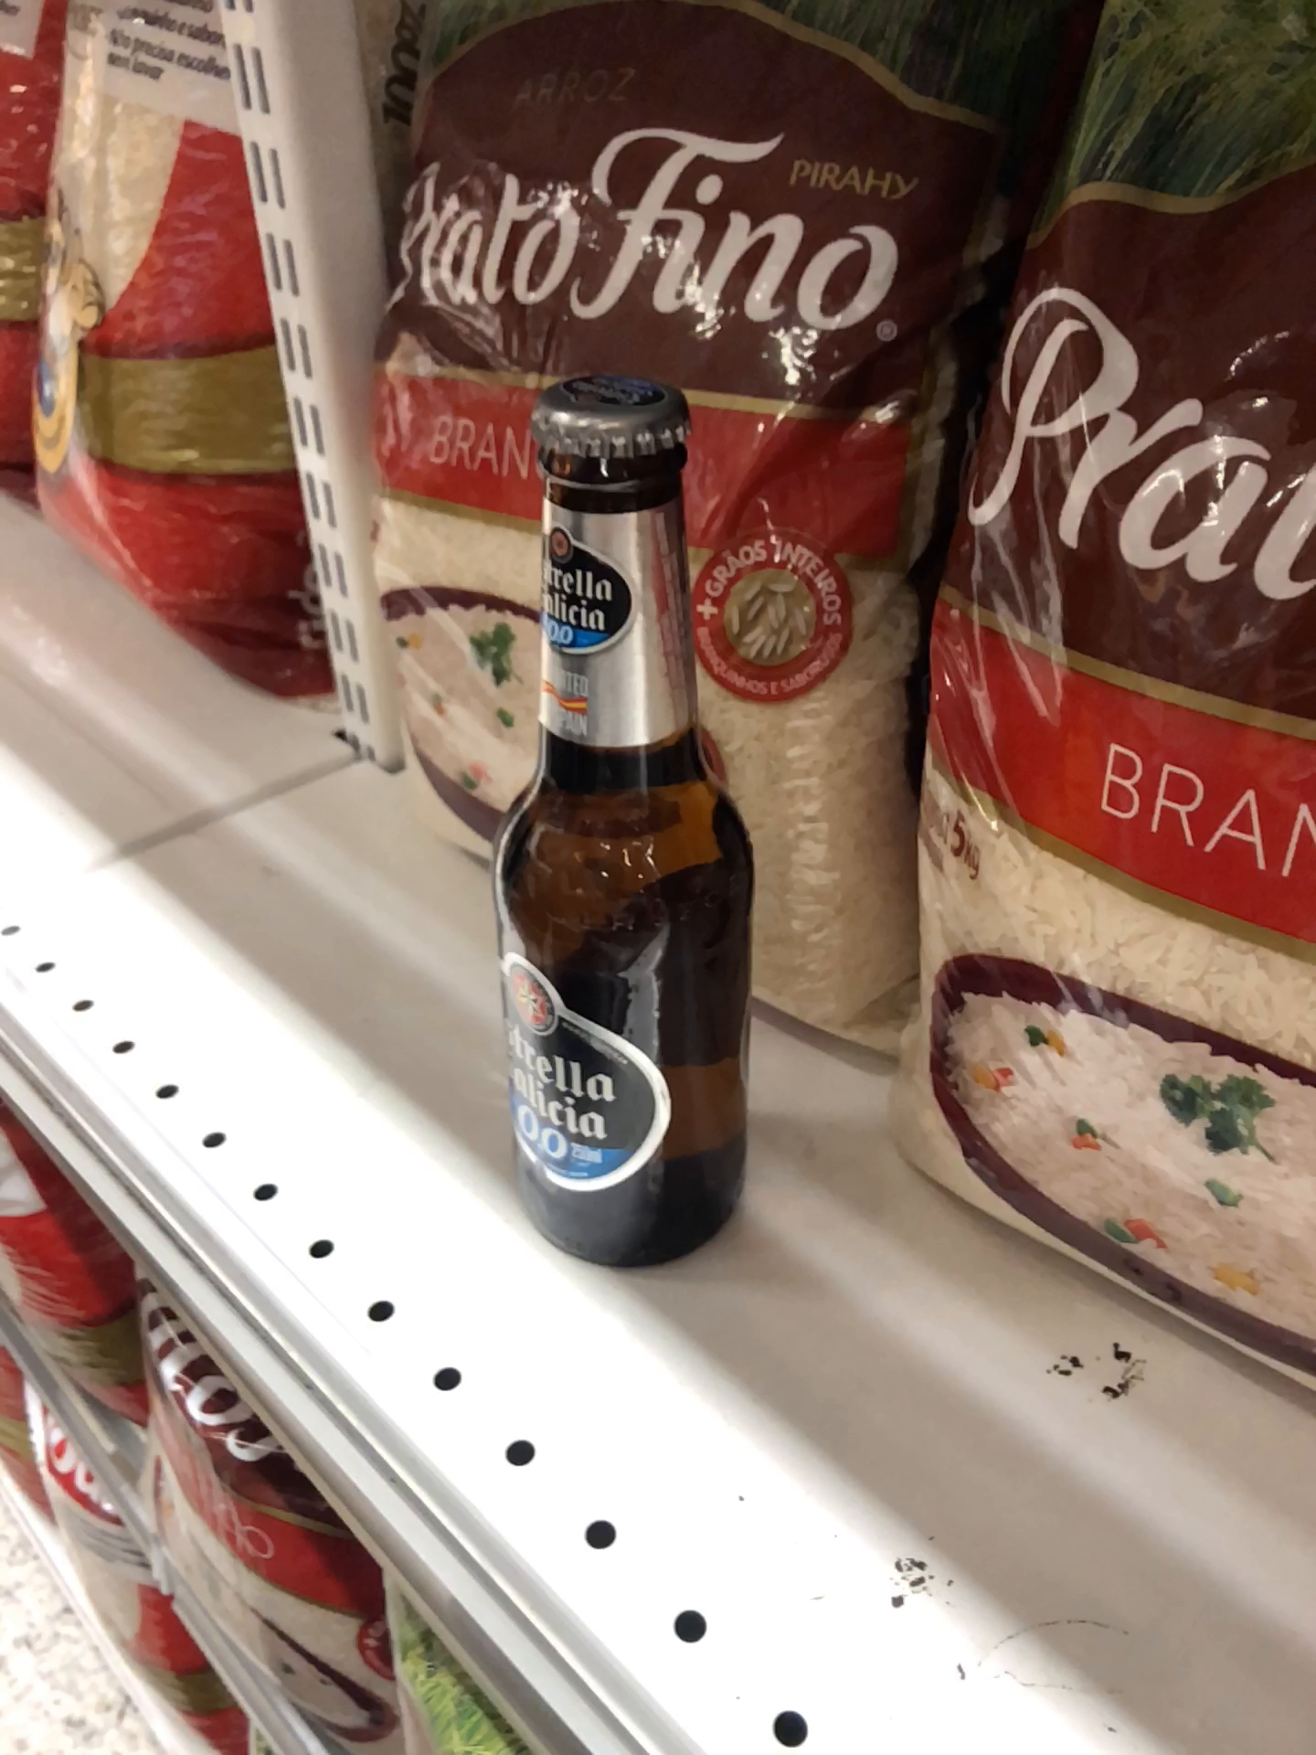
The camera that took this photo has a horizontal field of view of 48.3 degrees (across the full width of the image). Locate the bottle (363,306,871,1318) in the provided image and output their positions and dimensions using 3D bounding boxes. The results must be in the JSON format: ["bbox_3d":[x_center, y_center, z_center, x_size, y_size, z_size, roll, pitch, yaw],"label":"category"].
[{"bbox_3d":[-0.006,-0.006,0.297,0.060,0.188,0.060,-1,35,0],"label":"bottle"}]
